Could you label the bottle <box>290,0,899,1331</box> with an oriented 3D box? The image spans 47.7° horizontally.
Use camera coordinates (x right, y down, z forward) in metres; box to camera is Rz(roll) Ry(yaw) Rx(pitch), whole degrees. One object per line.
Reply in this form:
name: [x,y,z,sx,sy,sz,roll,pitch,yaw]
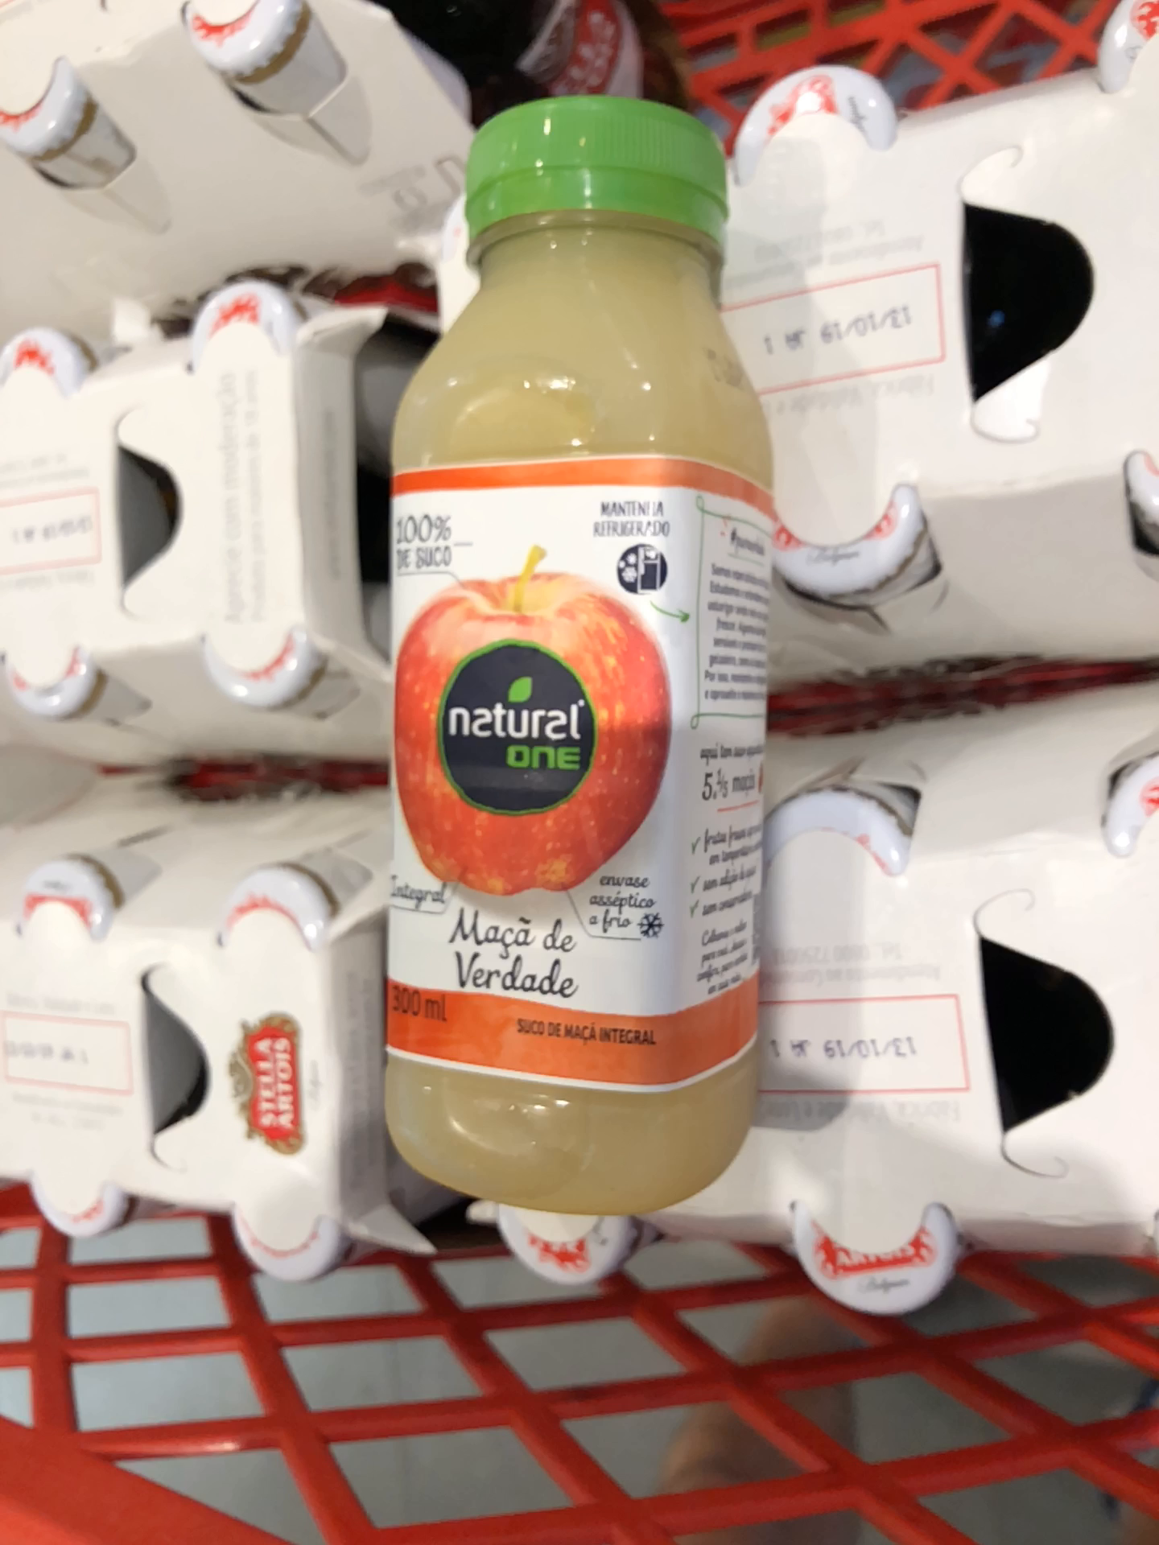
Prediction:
bottle: [0.005,-0.025,0.193,0.060,0.060,0.180,4,92,26]
